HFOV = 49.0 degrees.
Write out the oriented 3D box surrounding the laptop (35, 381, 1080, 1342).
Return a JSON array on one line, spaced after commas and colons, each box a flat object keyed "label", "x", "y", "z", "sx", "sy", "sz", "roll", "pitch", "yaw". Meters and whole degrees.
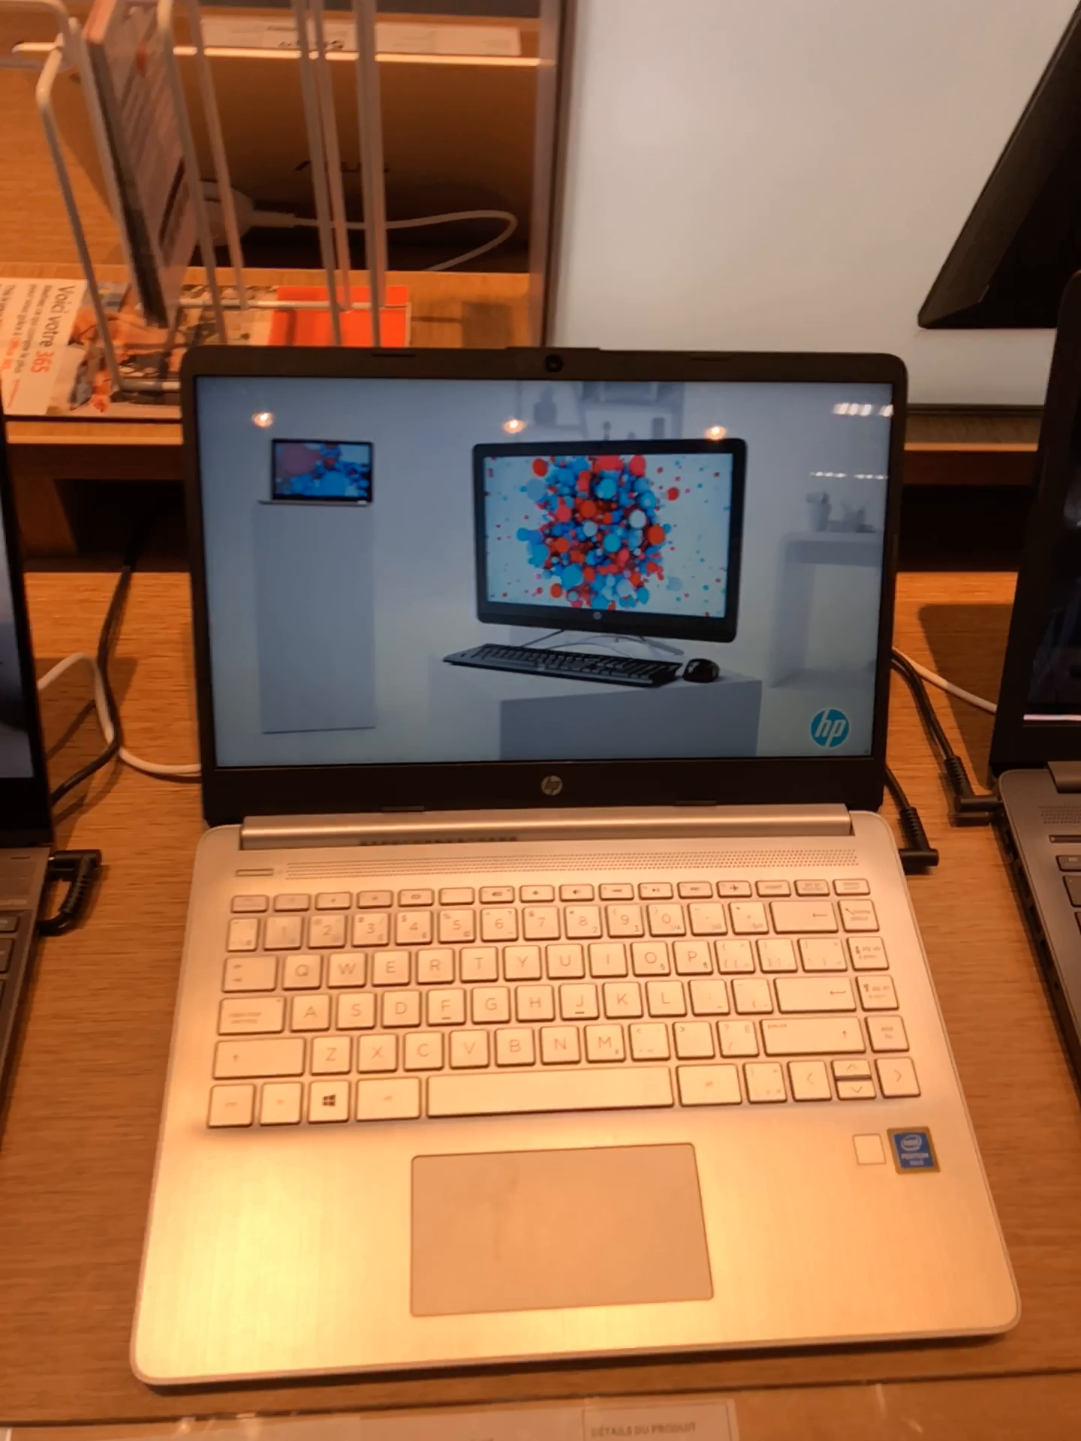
[{"label": "laptop", "x": 0.012, "y": 0.039, "z": 0.483, "sx": 0.307, "sy": 0.167, "sz": 0.347, "roll": -1, "pitch": 52, "yaw": -2}]
